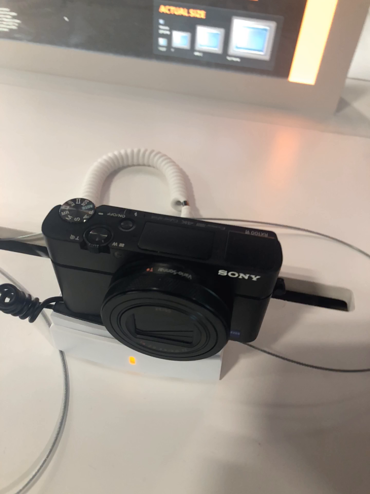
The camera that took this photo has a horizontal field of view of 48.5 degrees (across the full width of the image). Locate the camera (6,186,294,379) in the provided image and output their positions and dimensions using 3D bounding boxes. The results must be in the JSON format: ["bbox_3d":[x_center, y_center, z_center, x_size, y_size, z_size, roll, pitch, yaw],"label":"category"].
[{"bbox_3d":[-0.013,0.017,0.186,0.109,0.060,0.040,10,45,5],"label":"camera"}]
